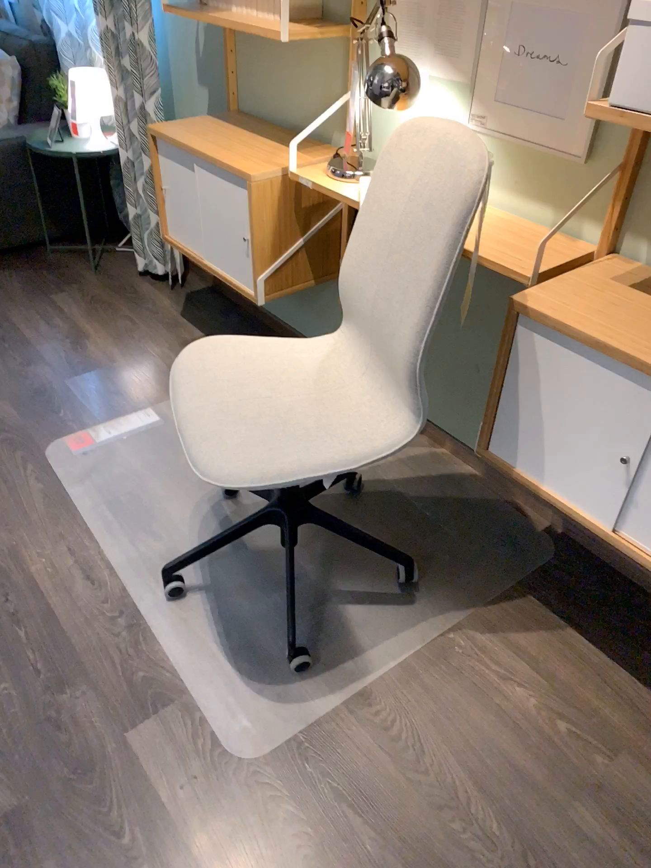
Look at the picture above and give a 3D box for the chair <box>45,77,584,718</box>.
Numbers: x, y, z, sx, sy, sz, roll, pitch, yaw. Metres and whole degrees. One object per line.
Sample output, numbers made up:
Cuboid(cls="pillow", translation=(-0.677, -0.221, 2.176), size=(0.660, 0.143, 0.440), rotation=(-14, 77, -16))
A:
Cuboid(cls="chair", translation=(-0.092, -0.093, 1.366), size=(0.670, 1.016, 0.672), rotation=(-12, 40, -17))
